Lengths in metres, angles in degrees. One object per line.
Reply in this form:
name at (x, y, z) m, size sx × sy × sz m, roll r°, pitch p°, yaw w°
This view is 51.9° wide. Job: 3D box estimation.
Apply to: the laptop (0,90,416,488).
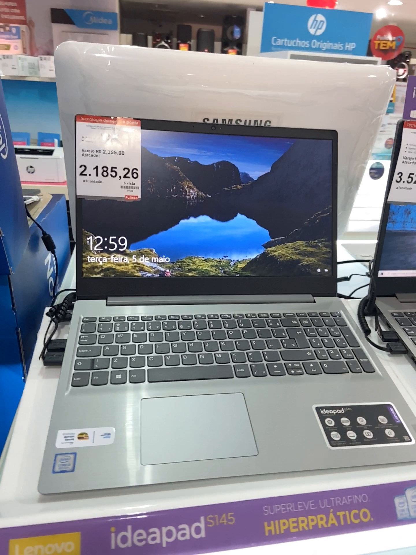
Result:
laptop at (0.018, -0.042, 0.486) m, size 0.358 × 0.212 × 0.390 m, roll 0°, pitch 32°, yaw -9°
